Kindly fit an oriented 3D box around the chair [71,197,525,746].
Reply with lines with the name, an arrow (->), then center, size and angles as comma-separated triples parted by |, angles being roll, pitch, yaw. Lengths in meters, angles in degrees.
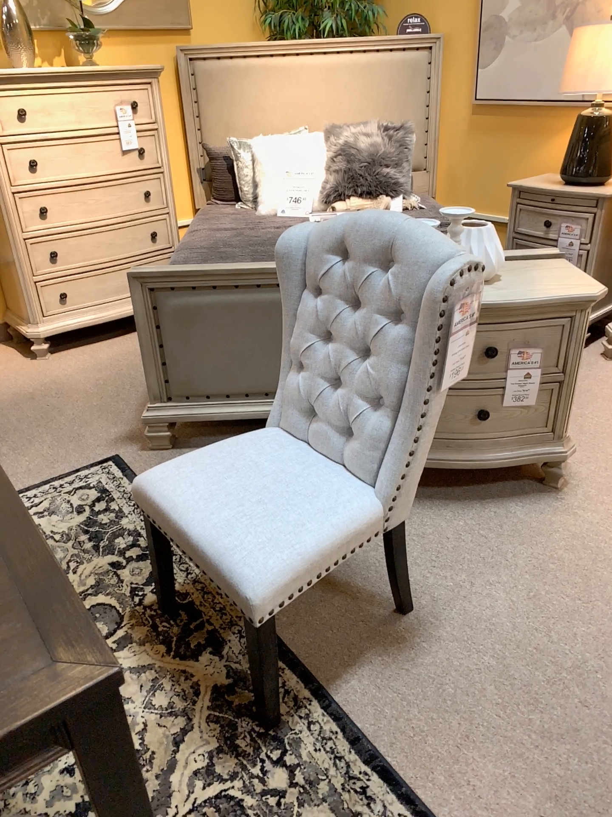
chair -> 0.002, 0.079, 1.525 | 0.742, 0.973, 0.589 | -23, 34, -32
